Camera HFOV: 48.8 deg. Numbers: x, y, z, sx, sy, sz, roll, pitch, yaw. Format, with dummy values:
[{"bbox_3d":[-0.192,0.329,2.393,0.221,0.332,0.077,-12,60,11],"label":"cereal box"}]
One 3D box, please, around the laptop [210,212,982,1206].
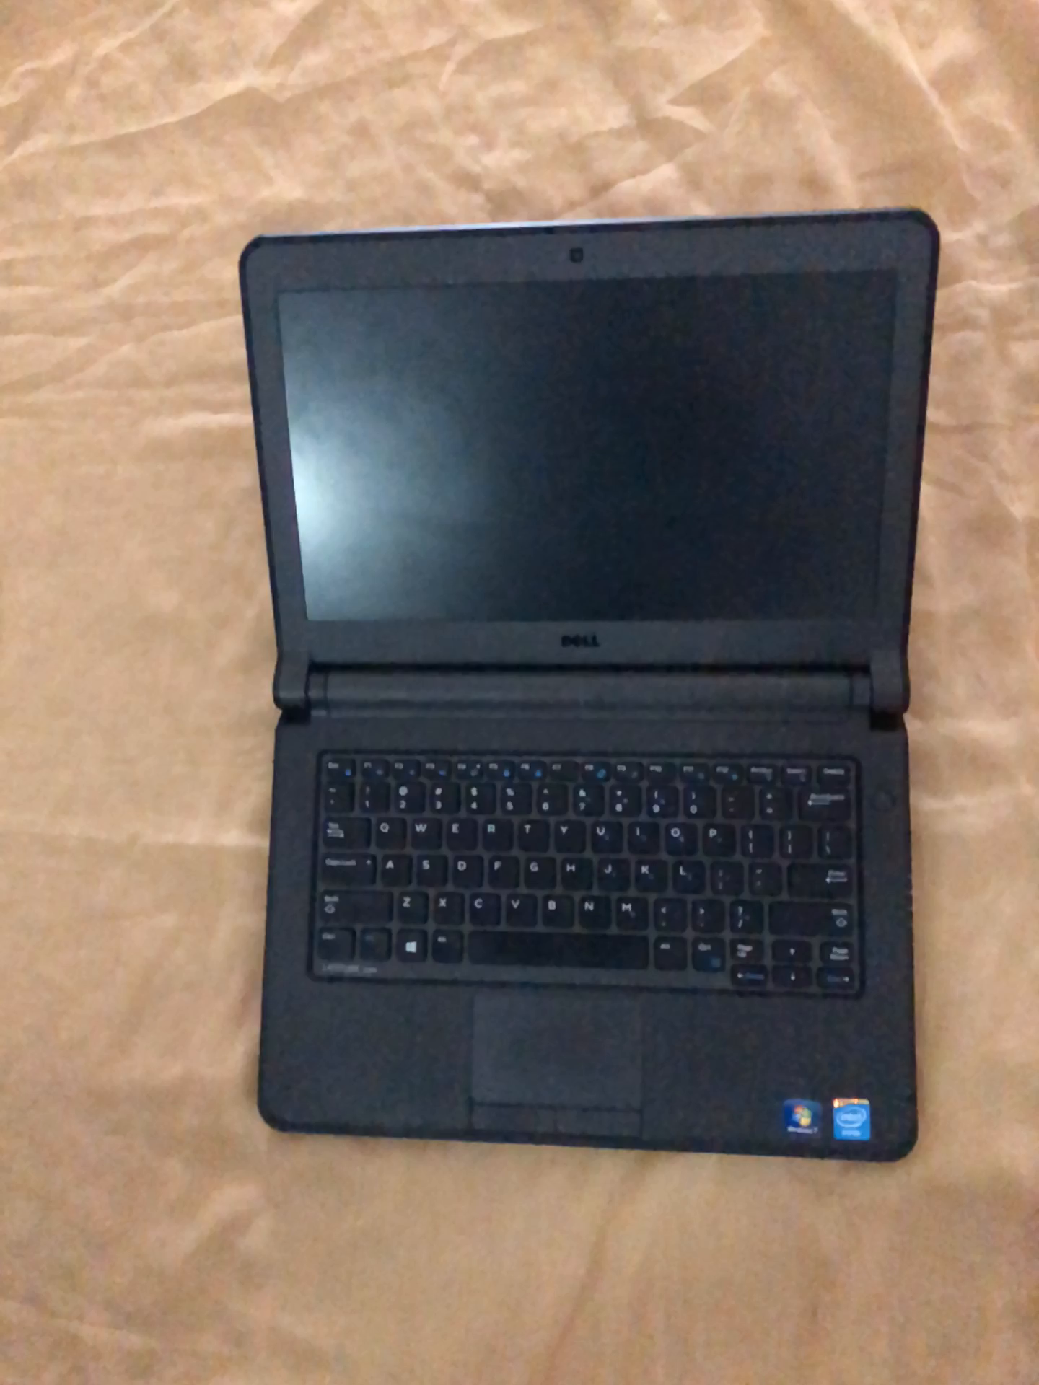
[{"bbox_3d":[0.034,0.003,0.528,0.309,0.092,0.409,0,83,6],"label":"laptop"}]
